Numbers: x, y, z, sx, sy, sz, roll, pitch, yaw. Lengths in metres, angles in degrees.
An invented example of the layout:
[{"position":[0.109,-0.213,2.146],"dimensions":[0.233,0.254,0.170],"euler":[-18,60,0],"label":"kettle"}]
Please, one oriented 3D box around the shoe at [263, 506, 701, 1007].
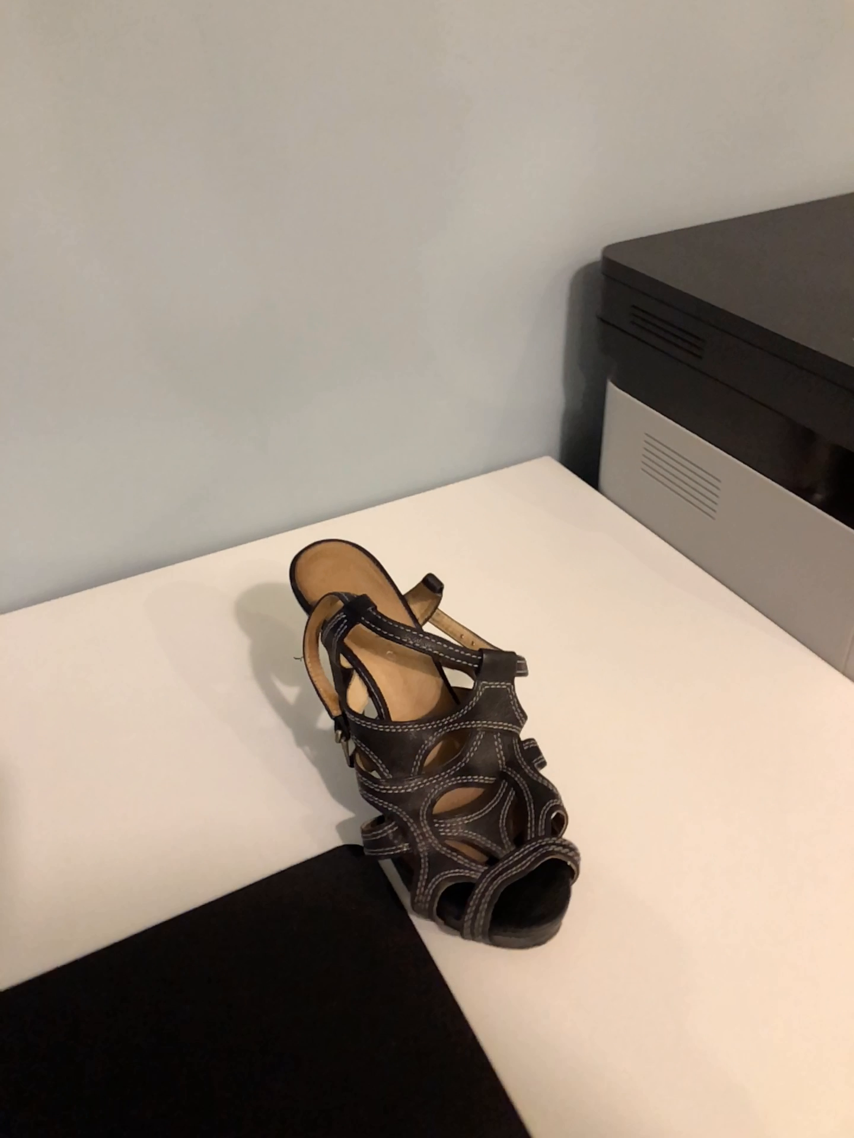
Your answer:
[{"position":[0.013,0.075,0.466],"dimensions":[0.100,0.099,0.221],"euler":[-20,39,-24],"label":"shoe"}]
